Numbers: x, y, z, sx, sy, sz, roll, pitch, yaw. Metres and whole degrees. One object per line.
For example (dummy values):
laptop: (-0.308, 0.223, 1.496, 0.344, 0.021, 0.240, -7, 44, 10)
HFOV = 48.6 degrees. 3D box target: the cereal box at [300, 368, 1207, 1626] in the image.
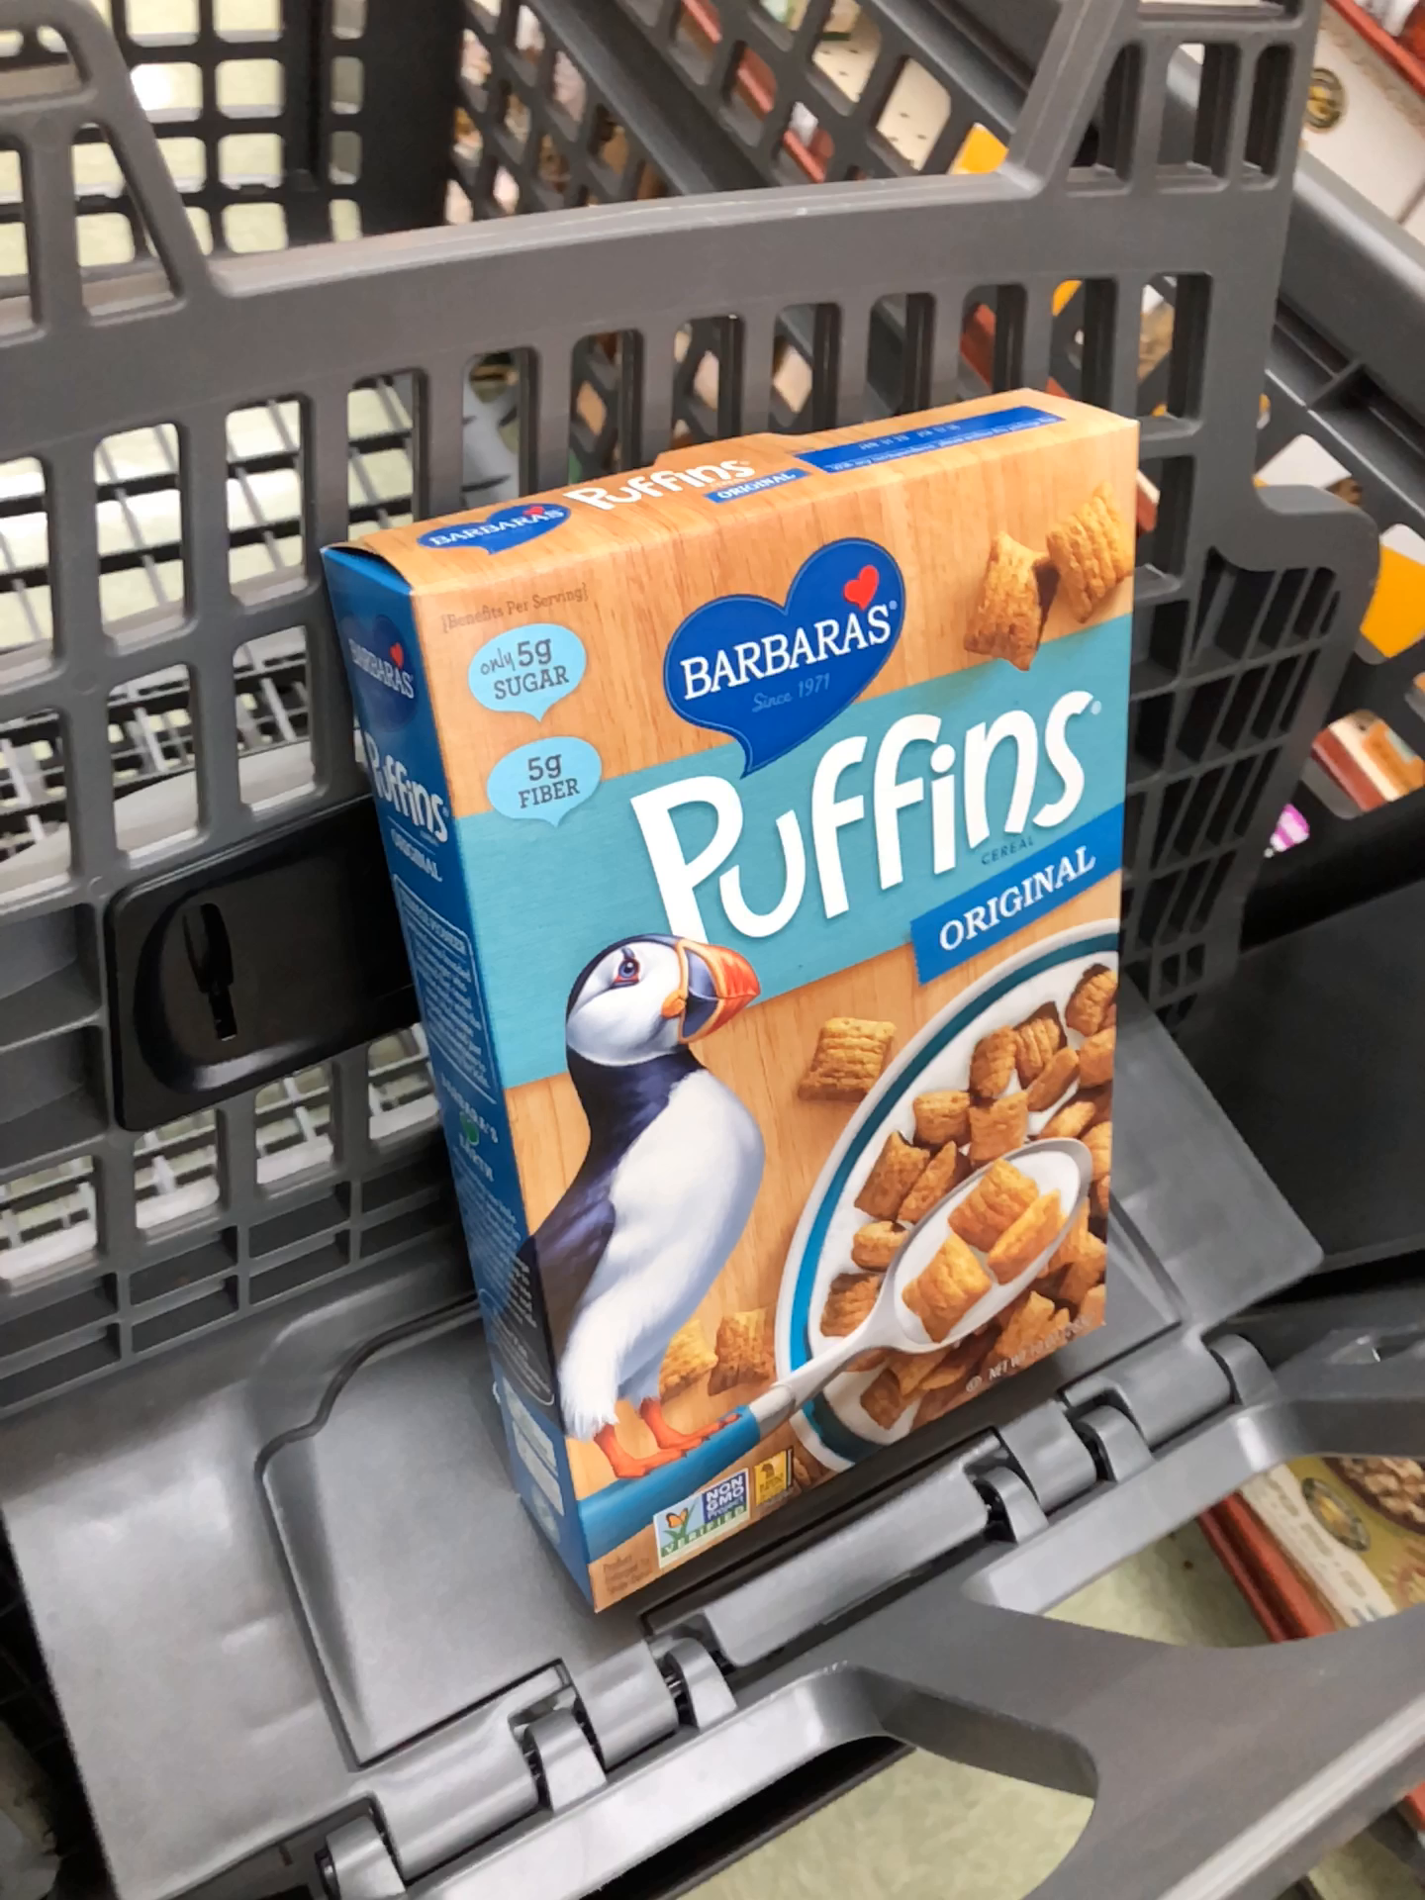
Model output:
cereal box: (0.027, 0.012, 0.385, 0.190, 0.260, 0.050, -21, 32, -26)
